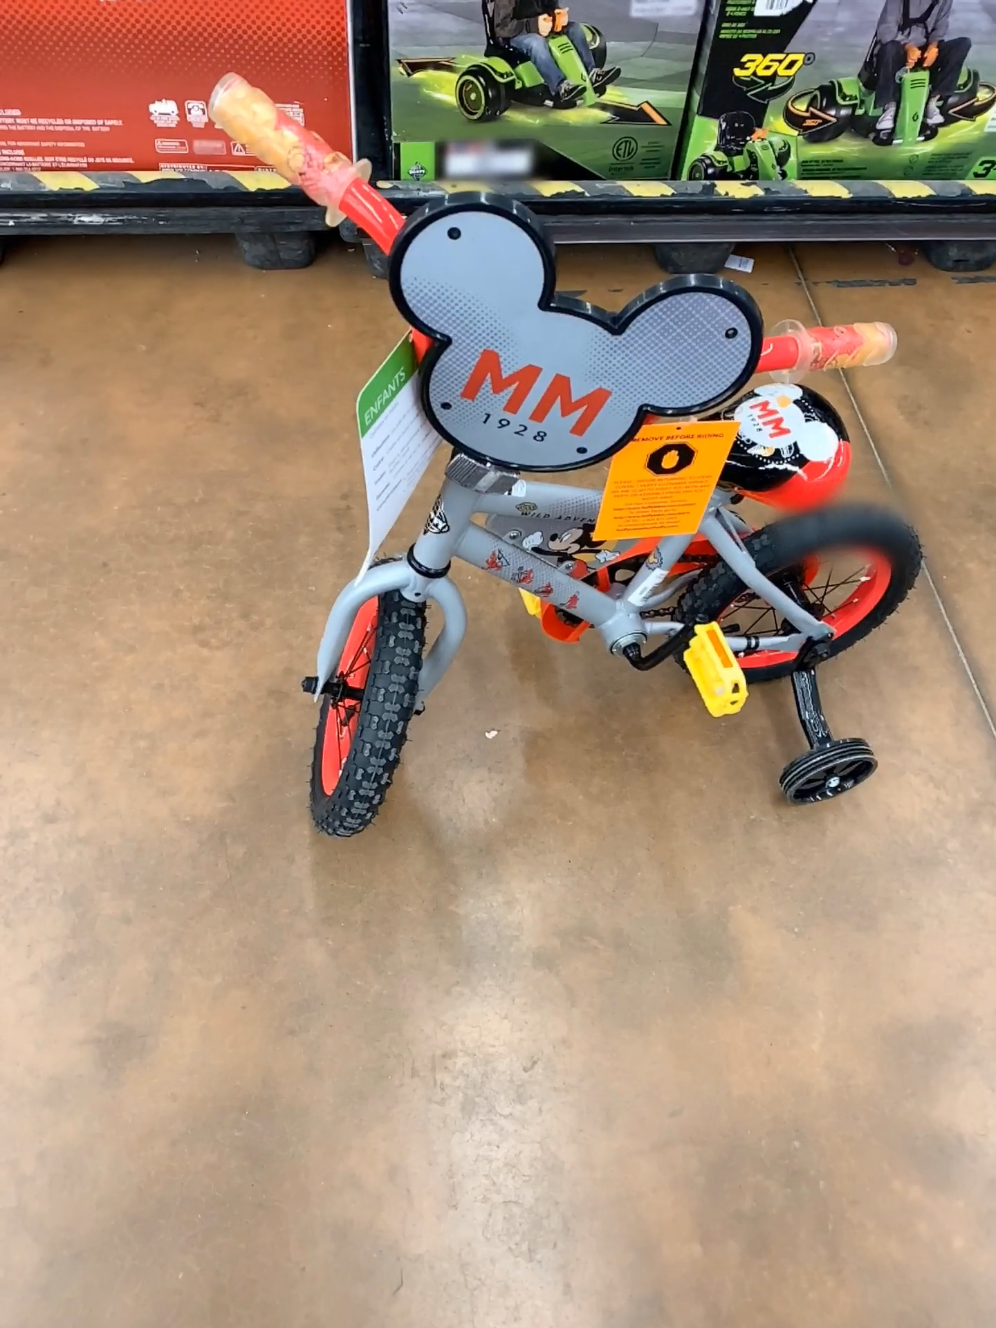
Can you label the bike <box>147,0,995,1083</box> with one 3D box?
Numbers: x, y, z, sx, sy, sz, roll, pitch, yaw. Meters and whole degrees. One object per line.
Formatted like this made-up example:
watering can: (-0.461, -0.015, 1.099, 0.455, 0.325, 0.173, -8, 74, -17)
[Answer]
bike: (0.159, -0.087, 0.923, 0.679, 0.742, 0.449, -22, 59, -16)
